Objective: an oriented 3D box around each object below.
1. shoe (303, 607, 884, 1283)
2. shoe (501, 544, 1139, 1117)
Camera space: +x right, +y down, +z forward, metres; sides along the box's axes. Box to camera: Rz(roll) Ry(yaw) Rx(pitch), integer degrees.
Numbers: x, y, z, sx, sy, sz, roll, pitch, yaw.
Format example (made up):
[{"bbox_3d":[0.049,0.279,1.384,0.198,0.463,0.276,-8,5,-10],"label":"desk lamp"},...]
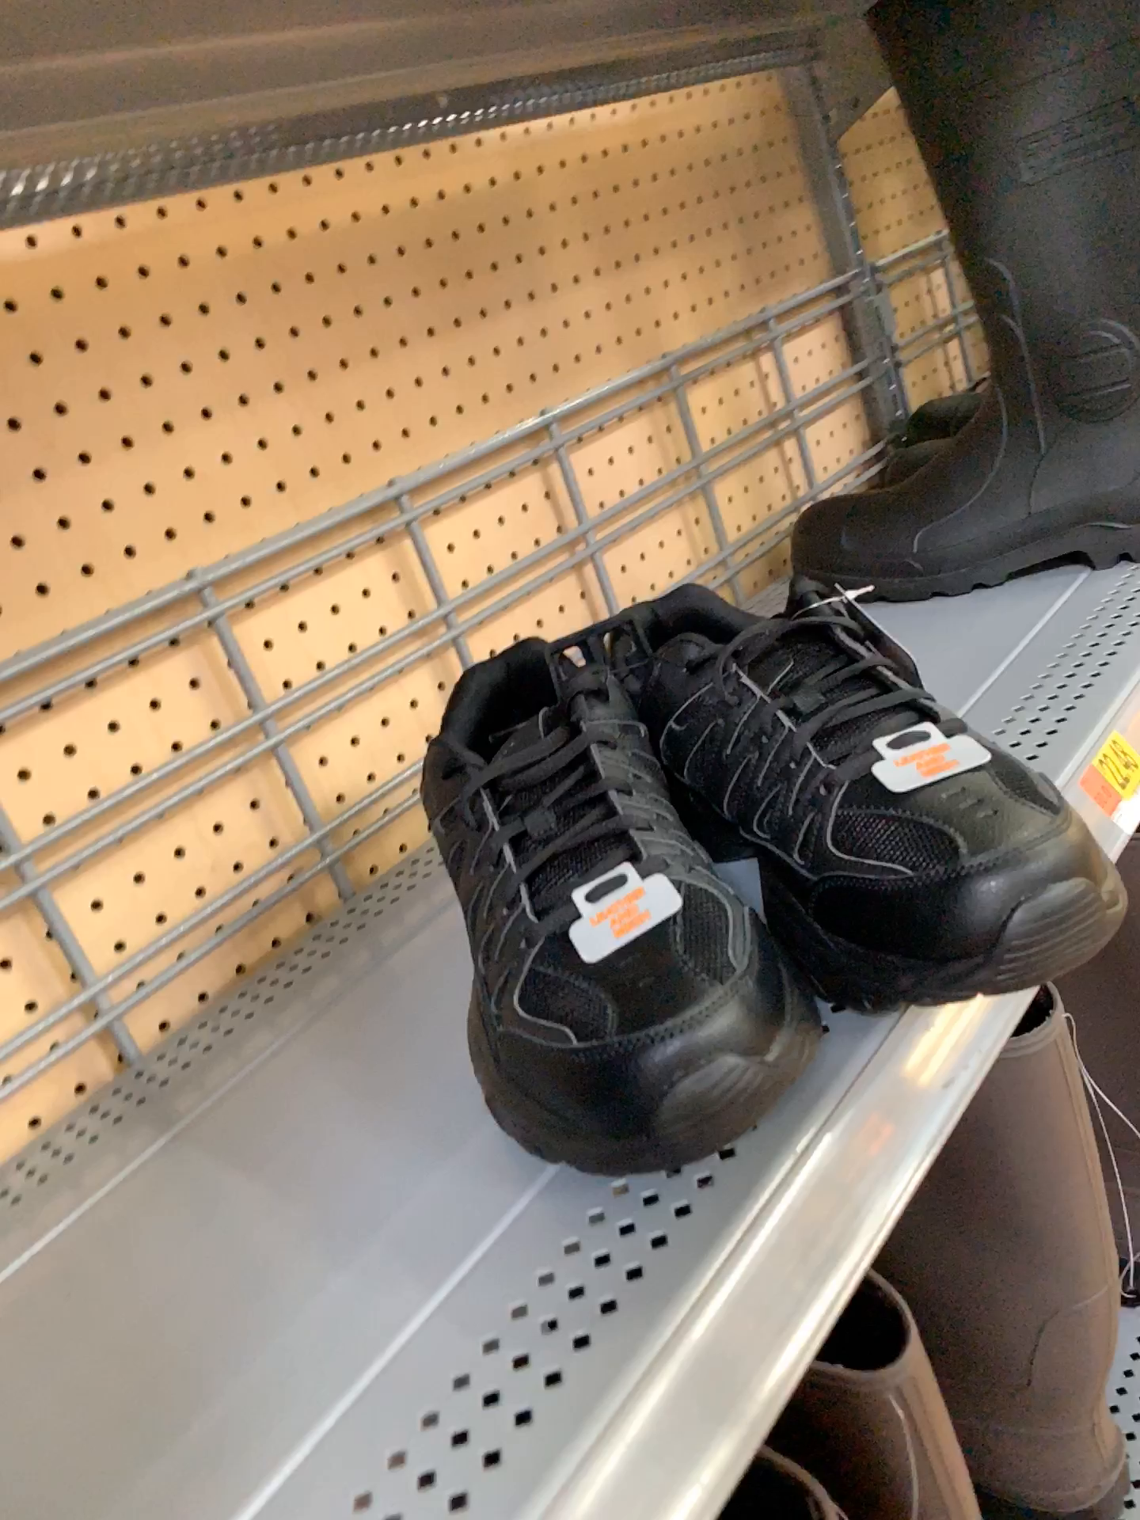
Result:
[{"bbox_3d":[-0.015,0.037,0.467,0.139,0.104,0.298,-22,19,-4],"label":"shoe"},{"bbox_3d":[0.090,-0.004,0.474,0.135,0.104,0.298,-25,20,-11],"label":"shoe"}]
